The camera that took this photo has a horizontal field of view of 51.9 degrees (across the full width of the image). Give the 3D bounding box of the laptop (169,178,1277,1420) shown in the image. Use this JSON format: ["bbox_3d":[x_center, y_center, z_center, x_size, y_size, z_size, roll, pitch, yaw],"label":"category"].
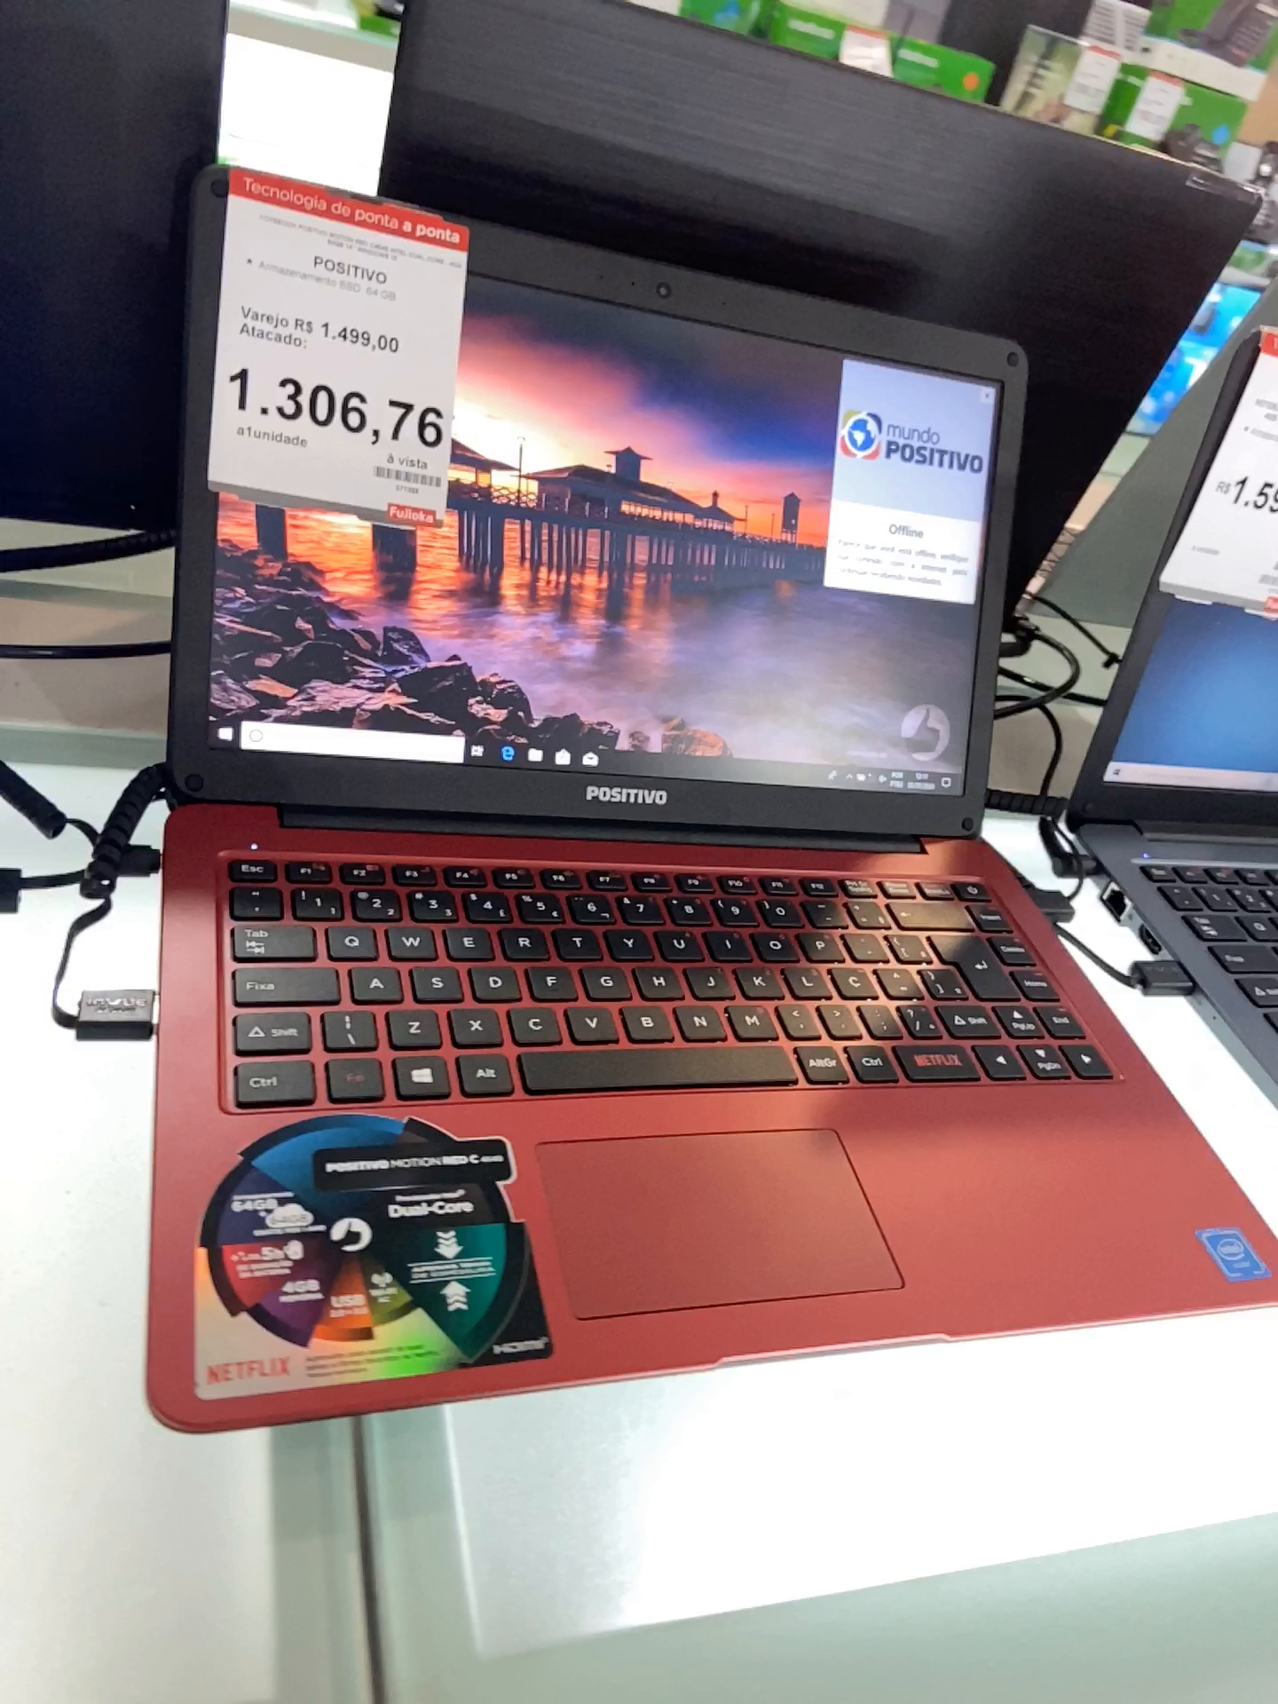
[{"bbox_3d":[0.030,-0.044,0.410,0.321,0.167,0.334,3,37,-21],"label":"laptop"}]
